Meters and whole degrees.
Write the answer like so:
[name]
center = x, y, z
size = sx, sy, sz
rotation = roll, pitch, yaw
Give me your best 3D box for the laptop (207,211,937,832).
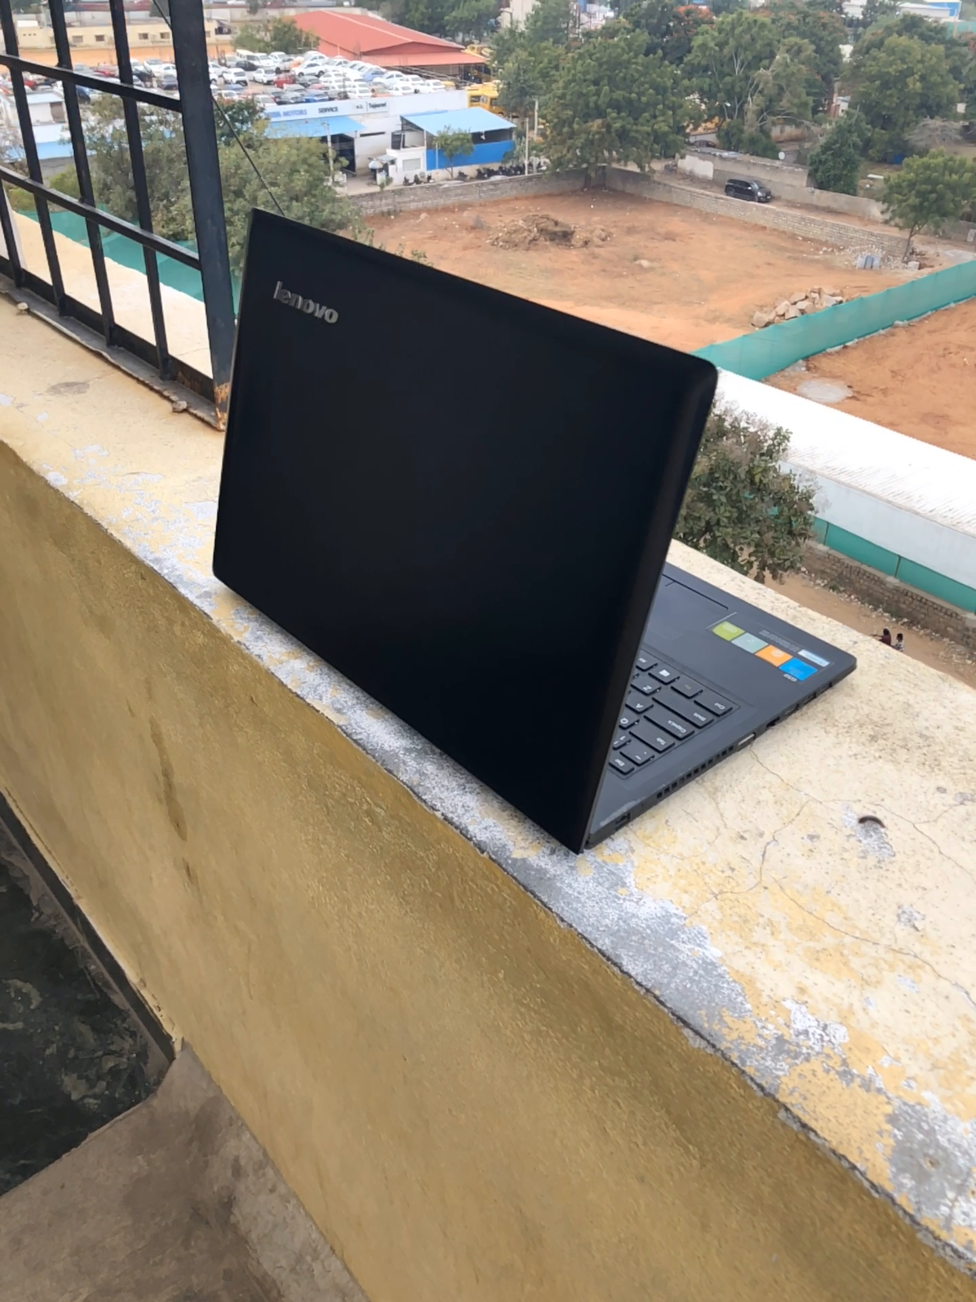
[laptop]
center = 0.031, -0.112, 0.658
size = 0.245, 0.223, 0.335
rotation = -24, 40, -32
